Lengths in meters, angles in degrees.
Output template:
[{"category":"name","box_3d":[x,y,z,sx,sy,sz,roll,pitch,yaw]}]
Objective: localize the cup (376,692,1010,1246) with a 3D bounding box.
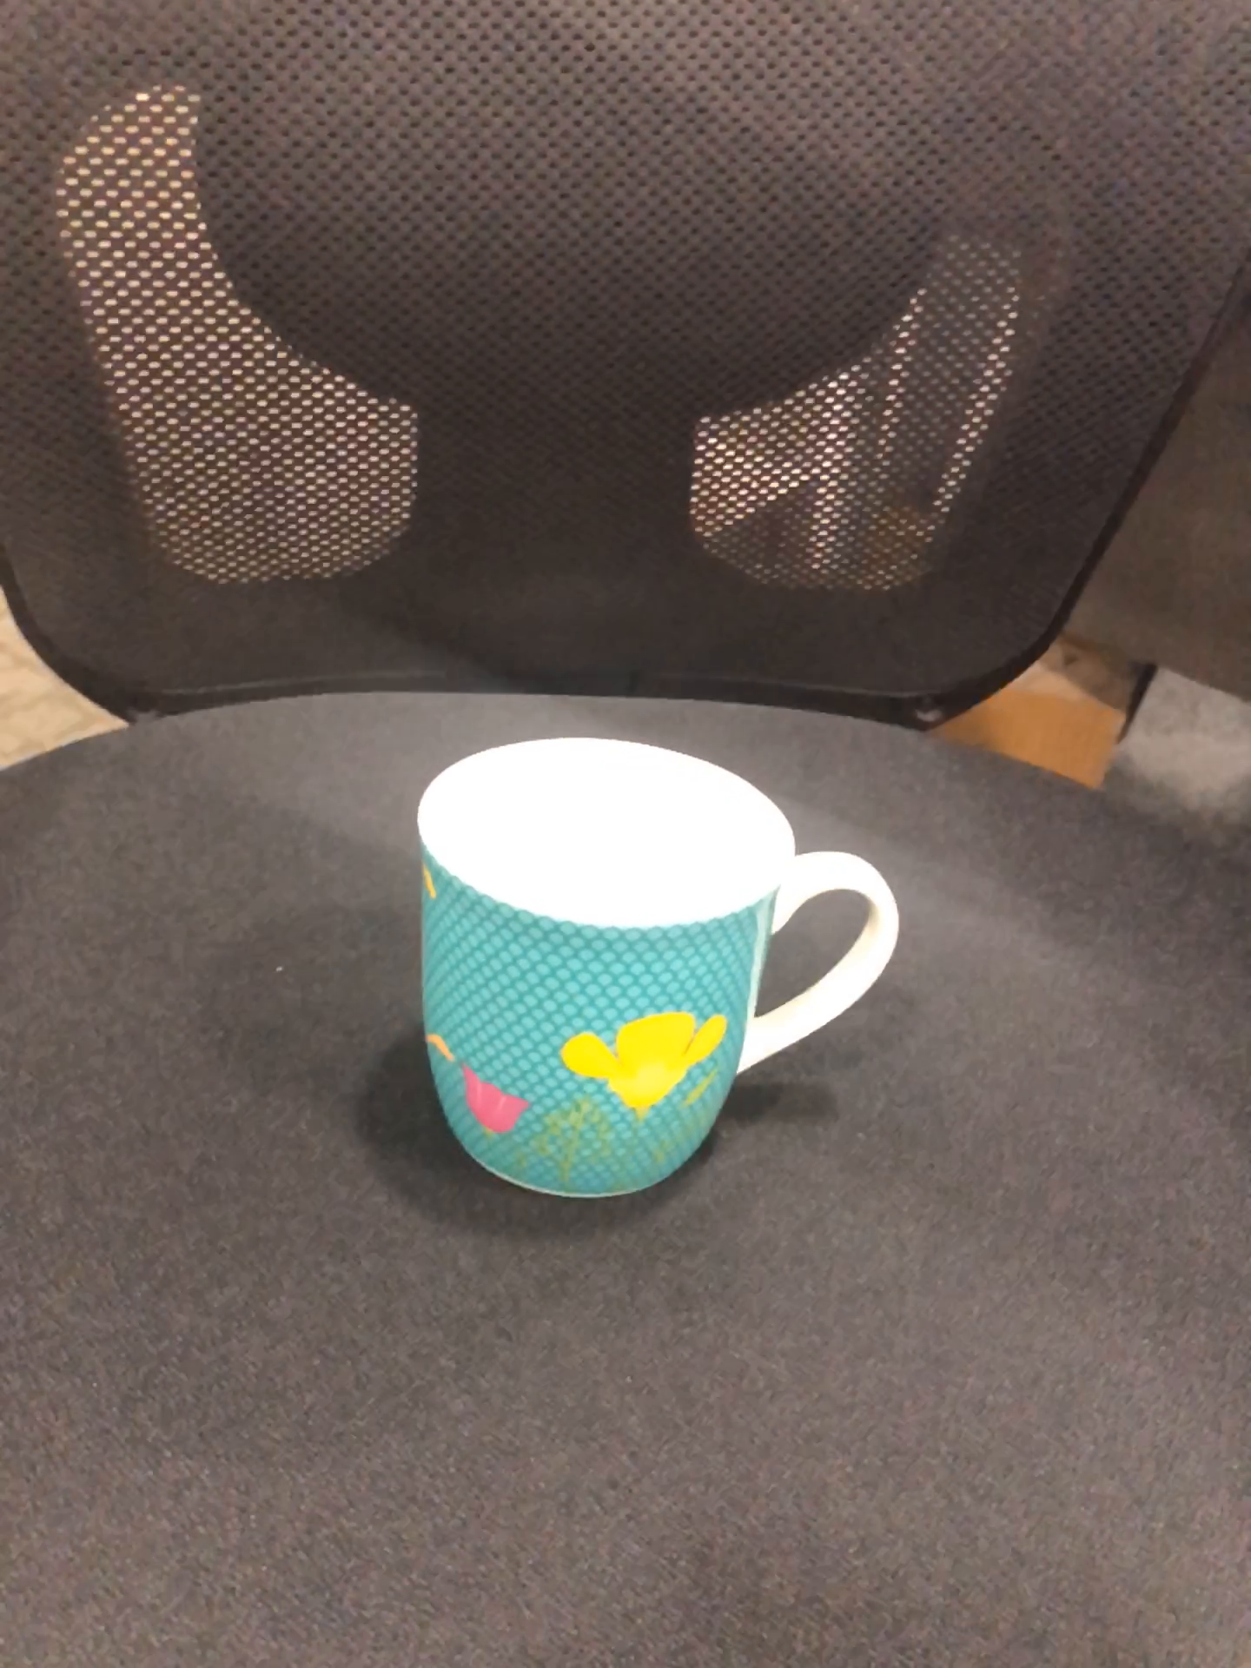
[{"category":"cup","box_3d":[0.008,0.025,0.305,0.110,0.080,0.070,-6,36,-21]}]
